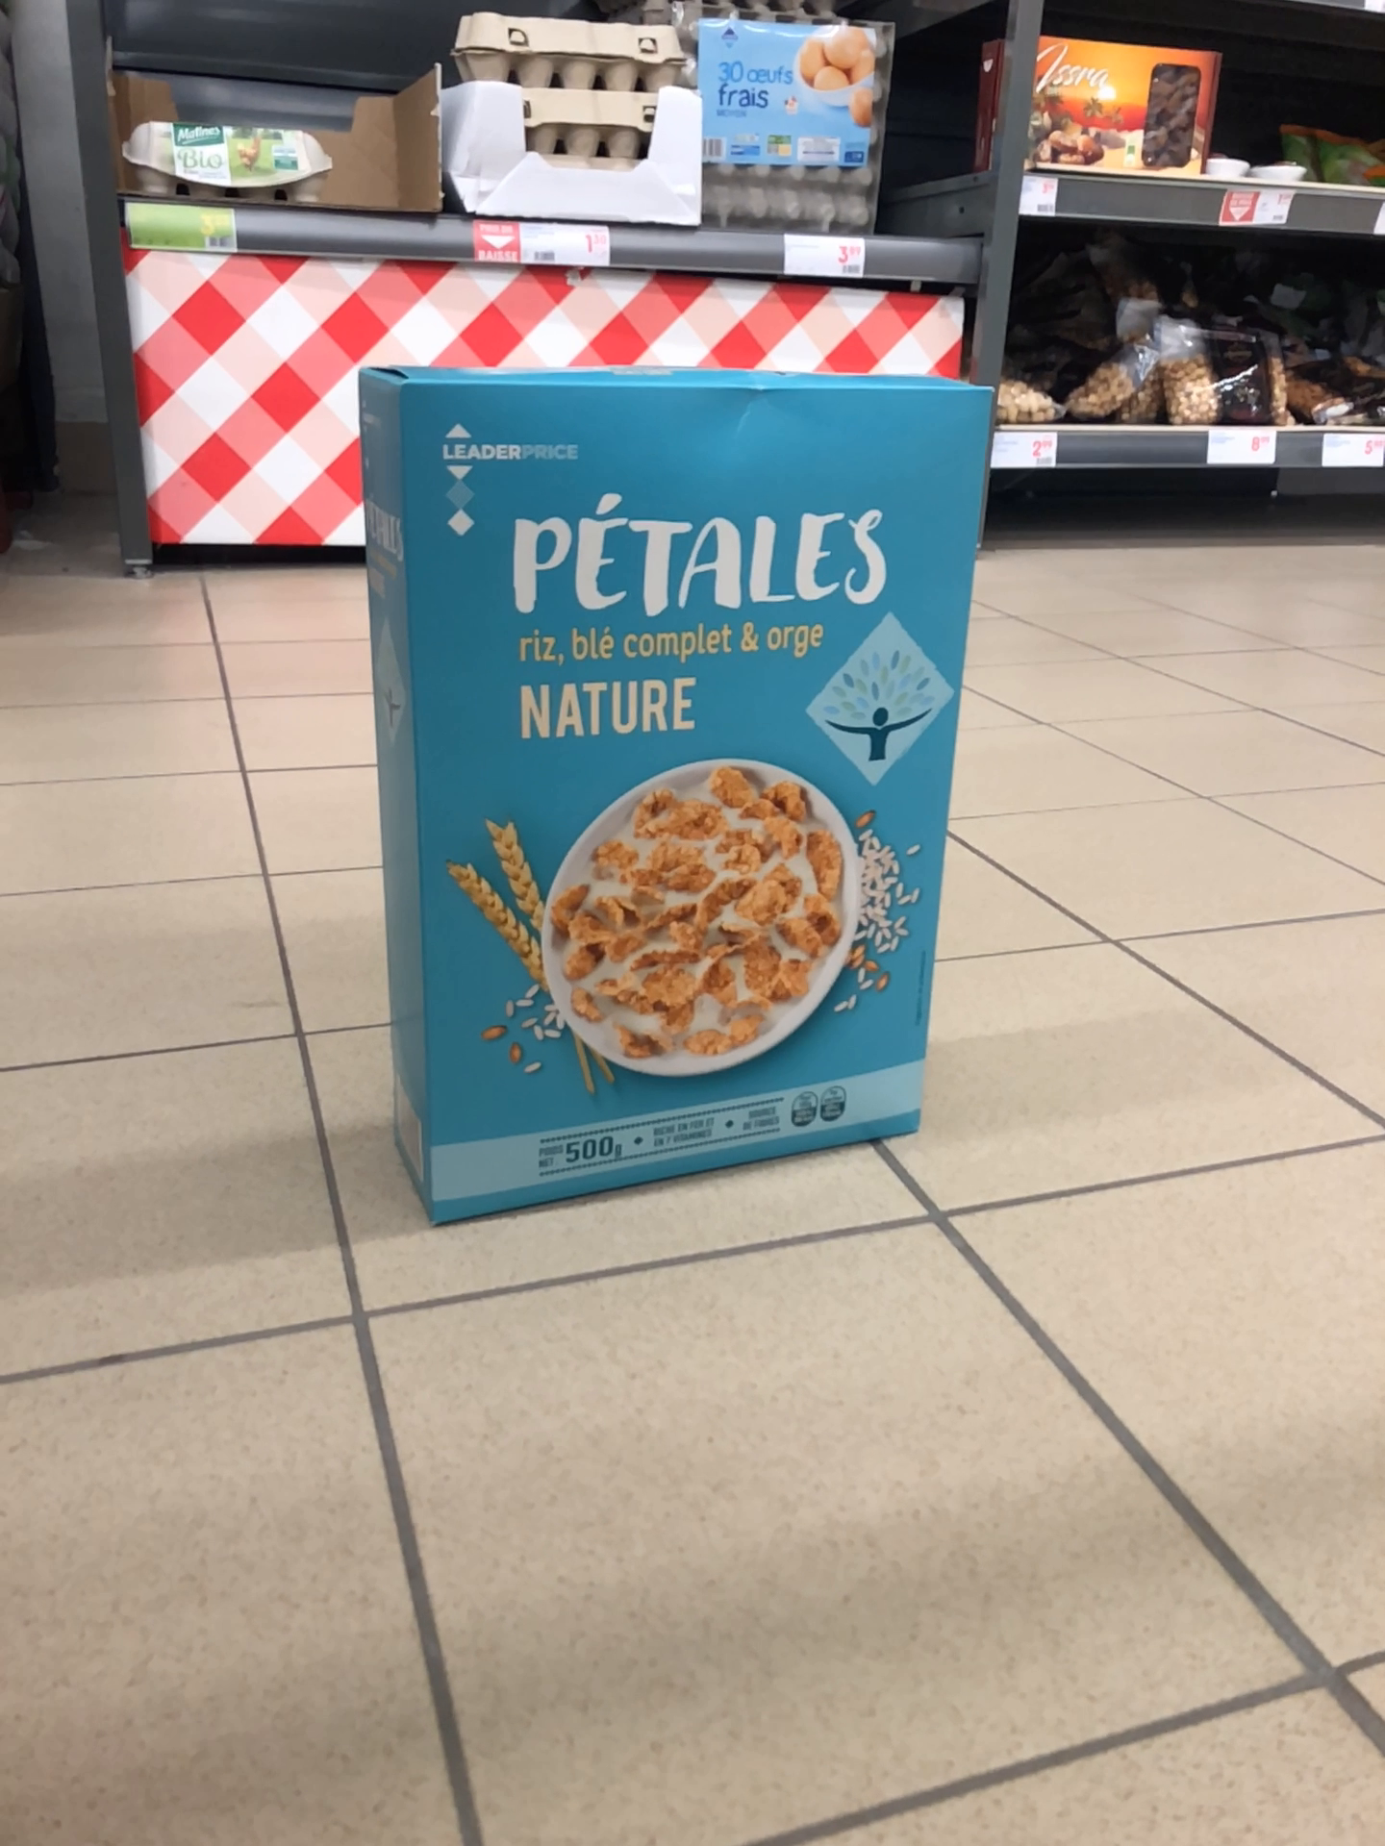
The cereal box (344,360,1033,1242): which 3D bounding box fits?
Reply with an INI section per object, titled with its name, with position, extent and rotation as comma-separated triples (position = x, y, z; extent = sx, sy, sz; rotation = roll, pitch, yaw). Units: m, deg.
[cereal box]
position = -0.004, -0.044, 0.514
extent = 0.200, 0.269, 0.070
rotation = -6, 22, -21
